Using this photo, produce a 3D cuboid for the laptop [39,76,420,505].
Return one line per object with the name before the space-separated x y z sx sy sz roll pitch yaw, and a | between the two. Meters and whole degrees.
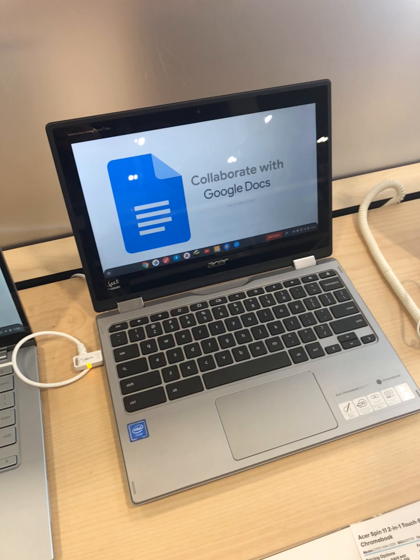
laptop | 0.027 -0.011 0.435 0.287 0.176 0.296 -14 54 -12
